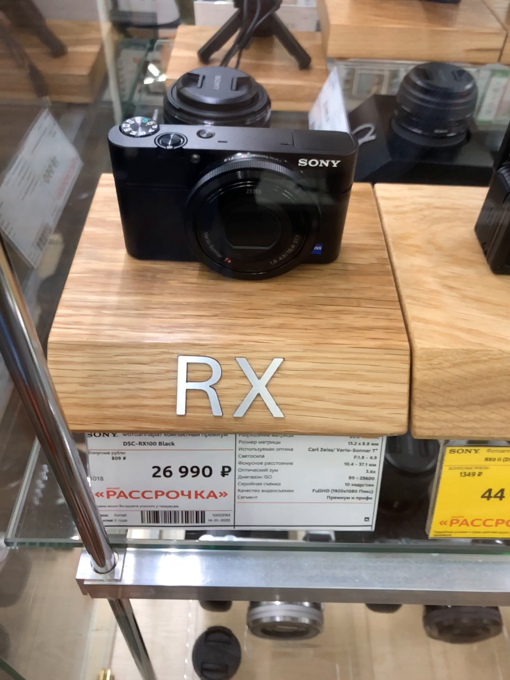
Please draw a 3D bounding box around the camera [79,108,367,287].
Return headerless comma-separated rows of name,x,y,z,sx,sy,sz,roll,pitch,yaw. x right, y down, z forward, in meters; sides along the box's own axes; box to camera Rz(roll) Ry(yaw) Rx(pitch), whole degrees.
camera,-0.012,-0.059,0.245,0.106,0.062,0.037,1,48,-2
